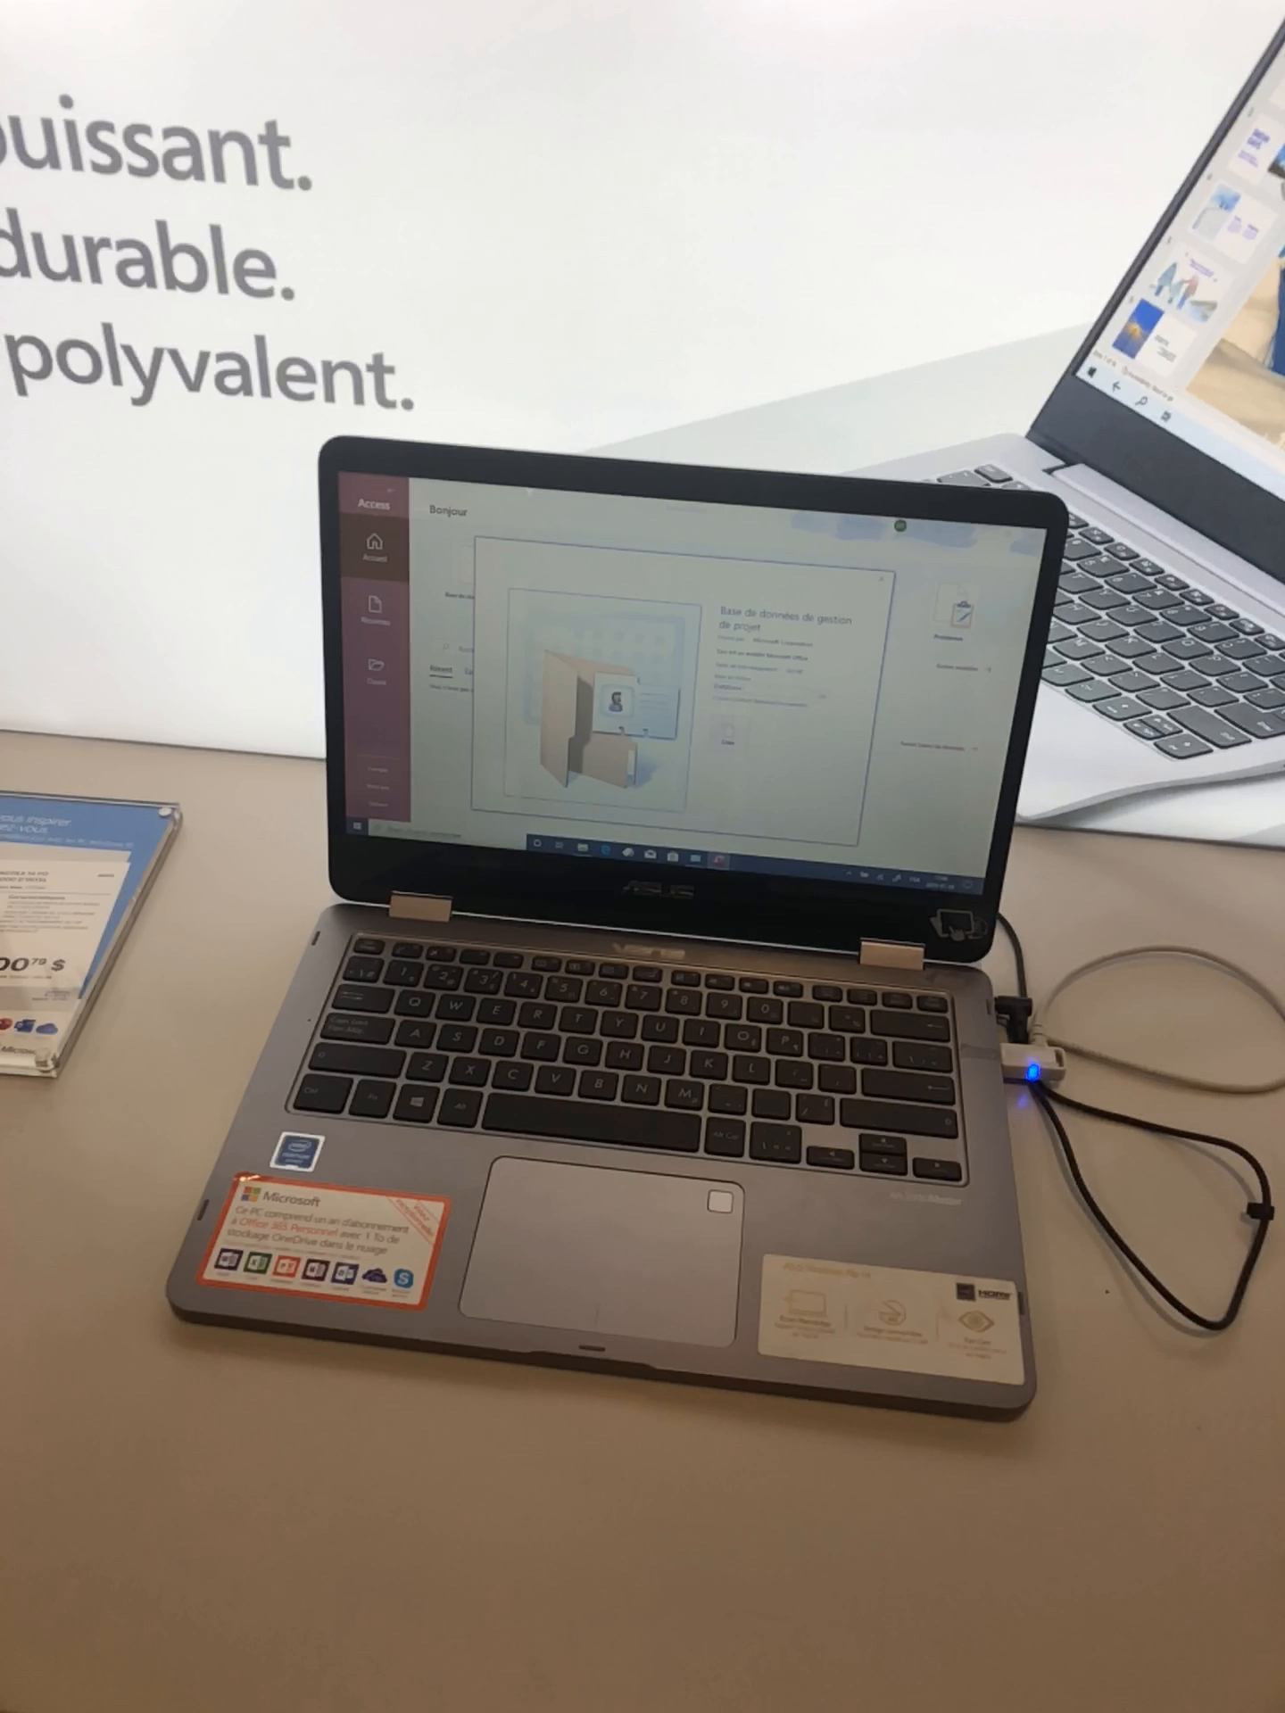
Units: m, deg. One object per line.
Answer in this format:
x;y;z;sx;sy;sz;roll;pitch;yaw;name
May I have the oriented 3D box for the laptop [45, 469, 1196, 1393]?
0.002;0.014;0.554;0.311;0.214;0.274;6;39;3;laptop
